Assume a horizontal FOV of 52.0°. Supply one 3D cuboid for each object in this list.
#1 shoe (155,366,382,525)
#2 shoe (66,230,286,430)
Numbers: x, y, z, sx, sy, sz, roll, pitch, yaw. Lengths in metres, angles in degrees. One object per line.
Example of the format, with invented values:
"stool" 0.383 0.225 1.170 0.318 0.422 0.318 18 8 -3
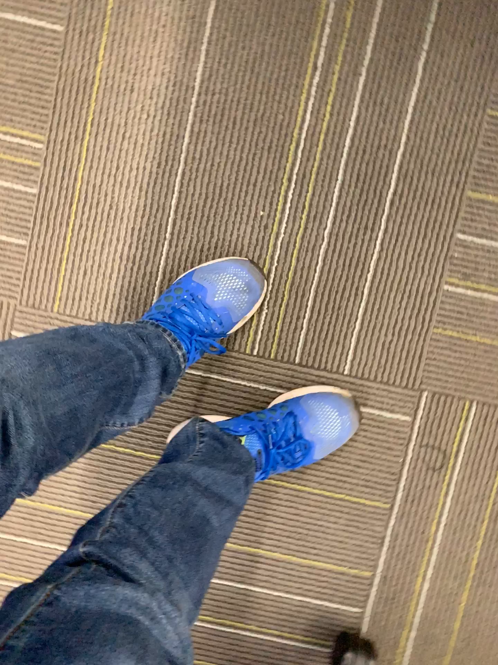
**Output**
"shoe" 0.028 0.166 0.767 0.299 0.077 0.128 -19 95 3
"shoe" -0.104 -0.004 0.757 0.298 0.077 0.125 -38 94 4
